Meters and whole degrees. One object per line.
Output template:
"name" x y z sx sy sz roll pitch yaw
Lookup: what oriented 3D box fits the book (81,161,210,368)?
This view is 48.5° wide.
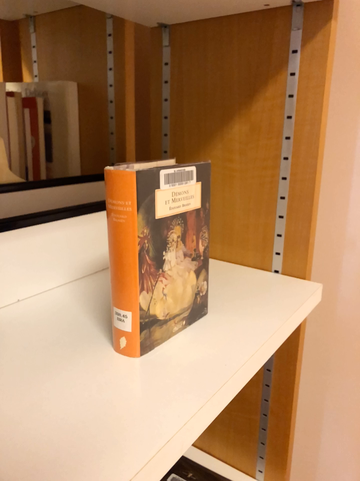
"book" -0.024 0.011 0.359 0.047 0.156 0.114 10 17 35
